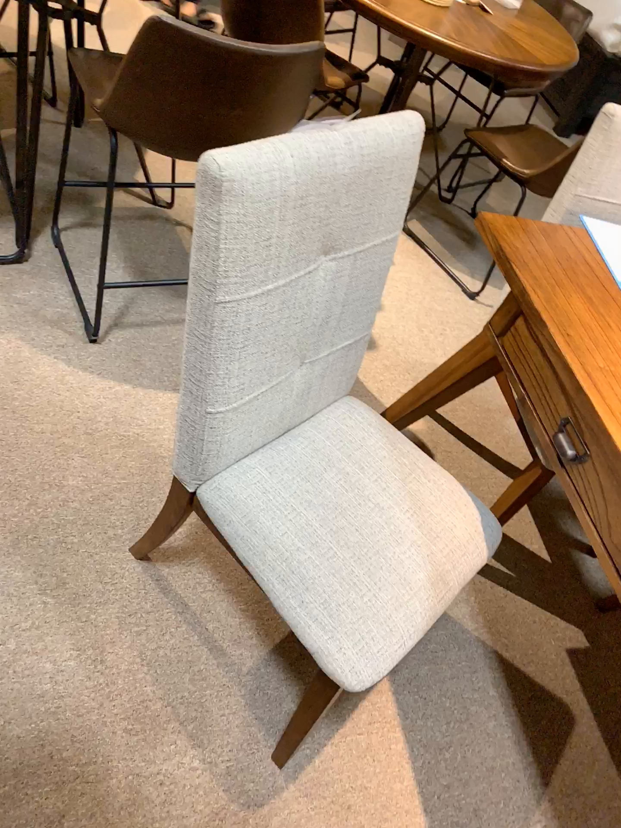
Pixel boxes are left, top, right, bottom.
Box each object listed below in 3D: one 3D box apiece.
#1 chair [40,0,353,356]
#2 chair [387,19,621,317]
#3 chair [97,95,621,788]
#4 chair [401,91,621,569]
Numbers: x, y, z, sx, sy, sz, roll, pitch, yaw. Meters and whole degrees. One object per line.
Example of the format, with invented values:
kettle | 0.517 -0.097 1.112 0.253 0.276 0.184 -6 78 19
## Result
chair | -0.364 -0.656 1.628 0.495 0.793 0.568 -11 58 -30
chair | 0.785 -0.876 2.303 0.526 0.743 0.598 -20 62 -34
chair | 0.053 0.094 1.075 0.486 0.912 0.628 -29 67 -38
chair | 0.714 -0.129 1.527 0.515 0.912 0.599 1 50 -21
